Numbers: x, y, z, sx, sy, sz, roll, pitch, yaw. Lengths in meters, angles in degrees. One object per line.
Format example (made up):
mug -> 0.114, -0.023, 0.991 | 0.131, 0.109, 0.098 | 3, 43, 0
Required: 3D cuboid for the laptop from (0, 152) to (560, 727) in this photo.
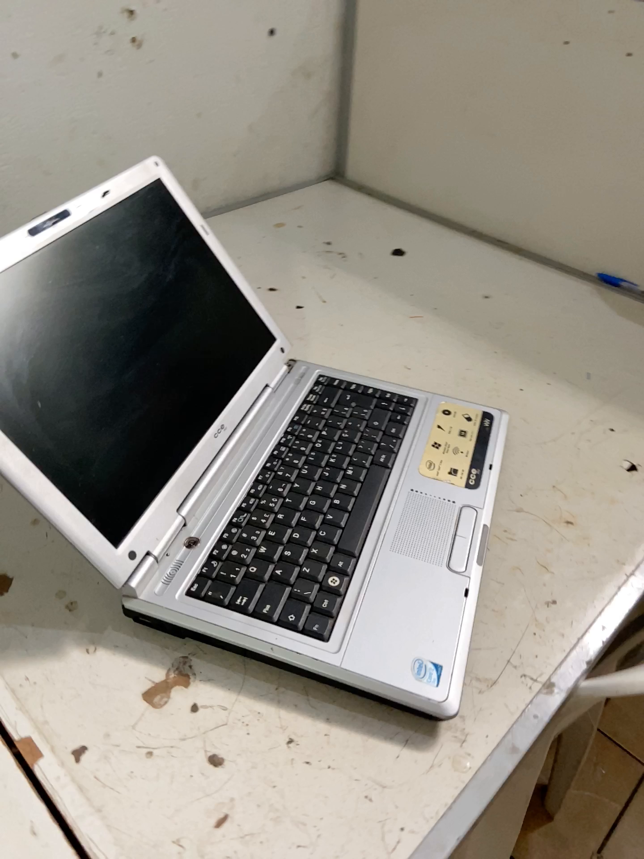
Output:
laptop -> -0.043, -0.038, 0.520 | 0.387, 0.190, 0.340 | 15, 41, 12
